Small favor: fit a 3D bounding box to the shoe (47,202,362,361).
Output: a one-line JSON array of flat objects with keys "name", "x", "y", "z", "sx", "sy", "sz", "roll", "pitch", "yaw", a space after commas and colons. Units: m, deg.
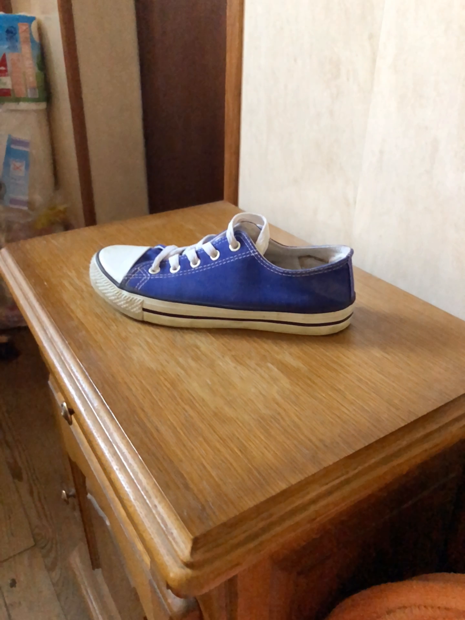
[{"name": "shoe", "x": -0.021, "y": -0.032, "z": 0.472, "sx": 0.260, "sy": 0.089, "sz": 0.091, "roll": 6, "pitch": 30, "yaw": 9}]
